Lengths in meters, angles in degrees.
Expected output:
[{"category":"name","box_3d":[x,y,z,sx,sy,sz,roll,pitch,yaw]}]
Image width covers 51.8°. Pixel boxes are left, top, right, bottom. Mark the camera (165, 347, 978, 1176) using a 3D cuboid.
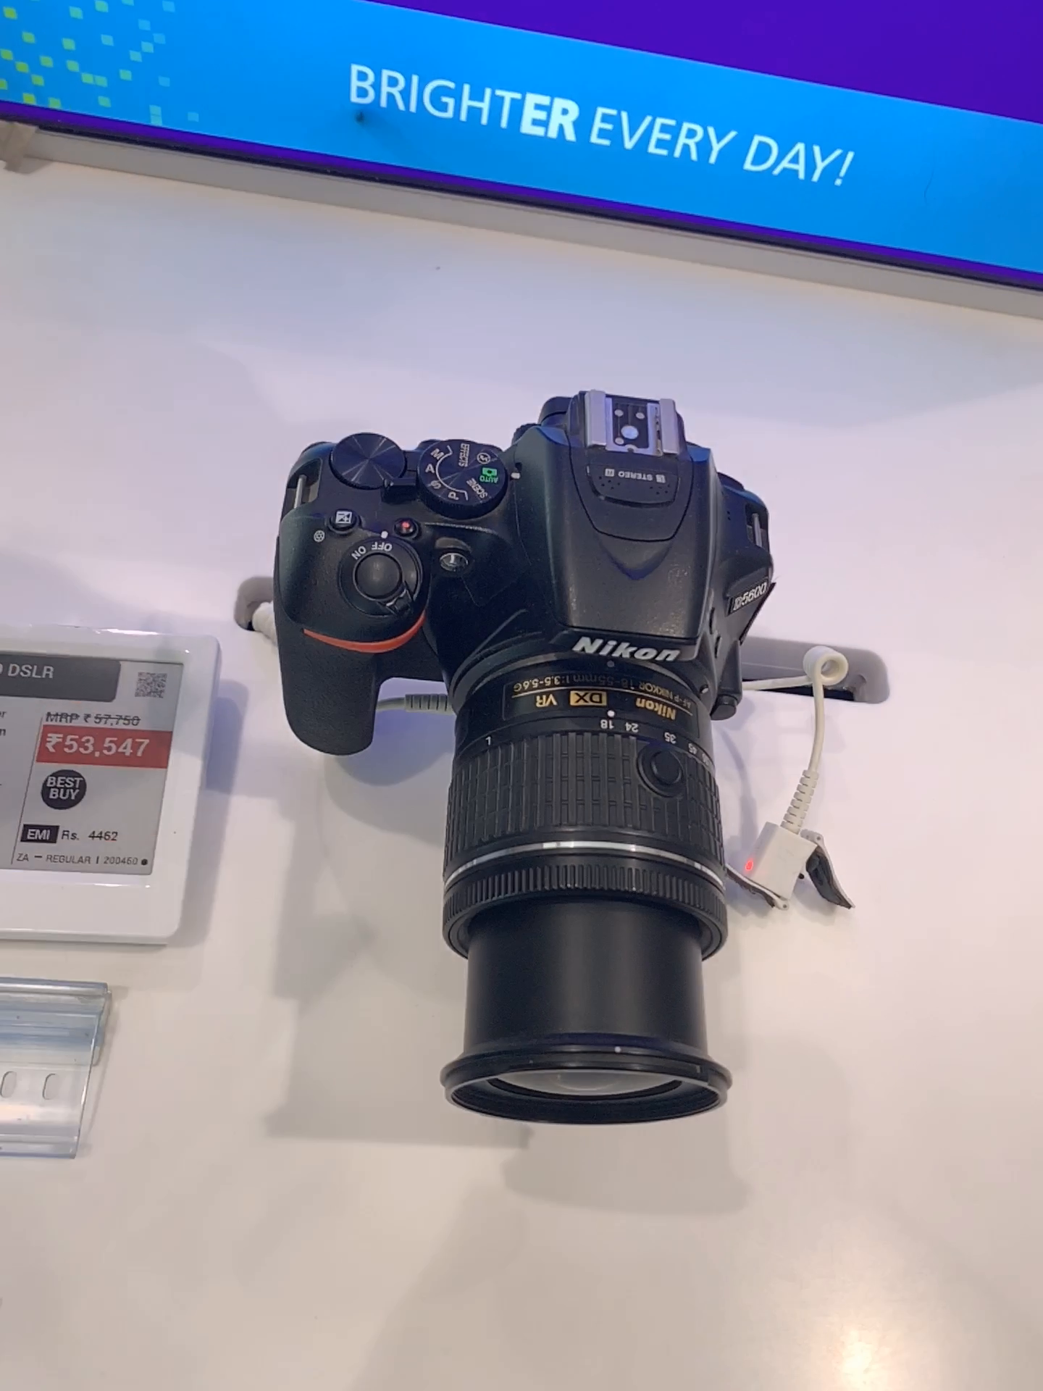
[{"category":"camera","box_3d":[0.002,0.019,0.231,0.116,0.100,0.141,4,58,-7]}]
